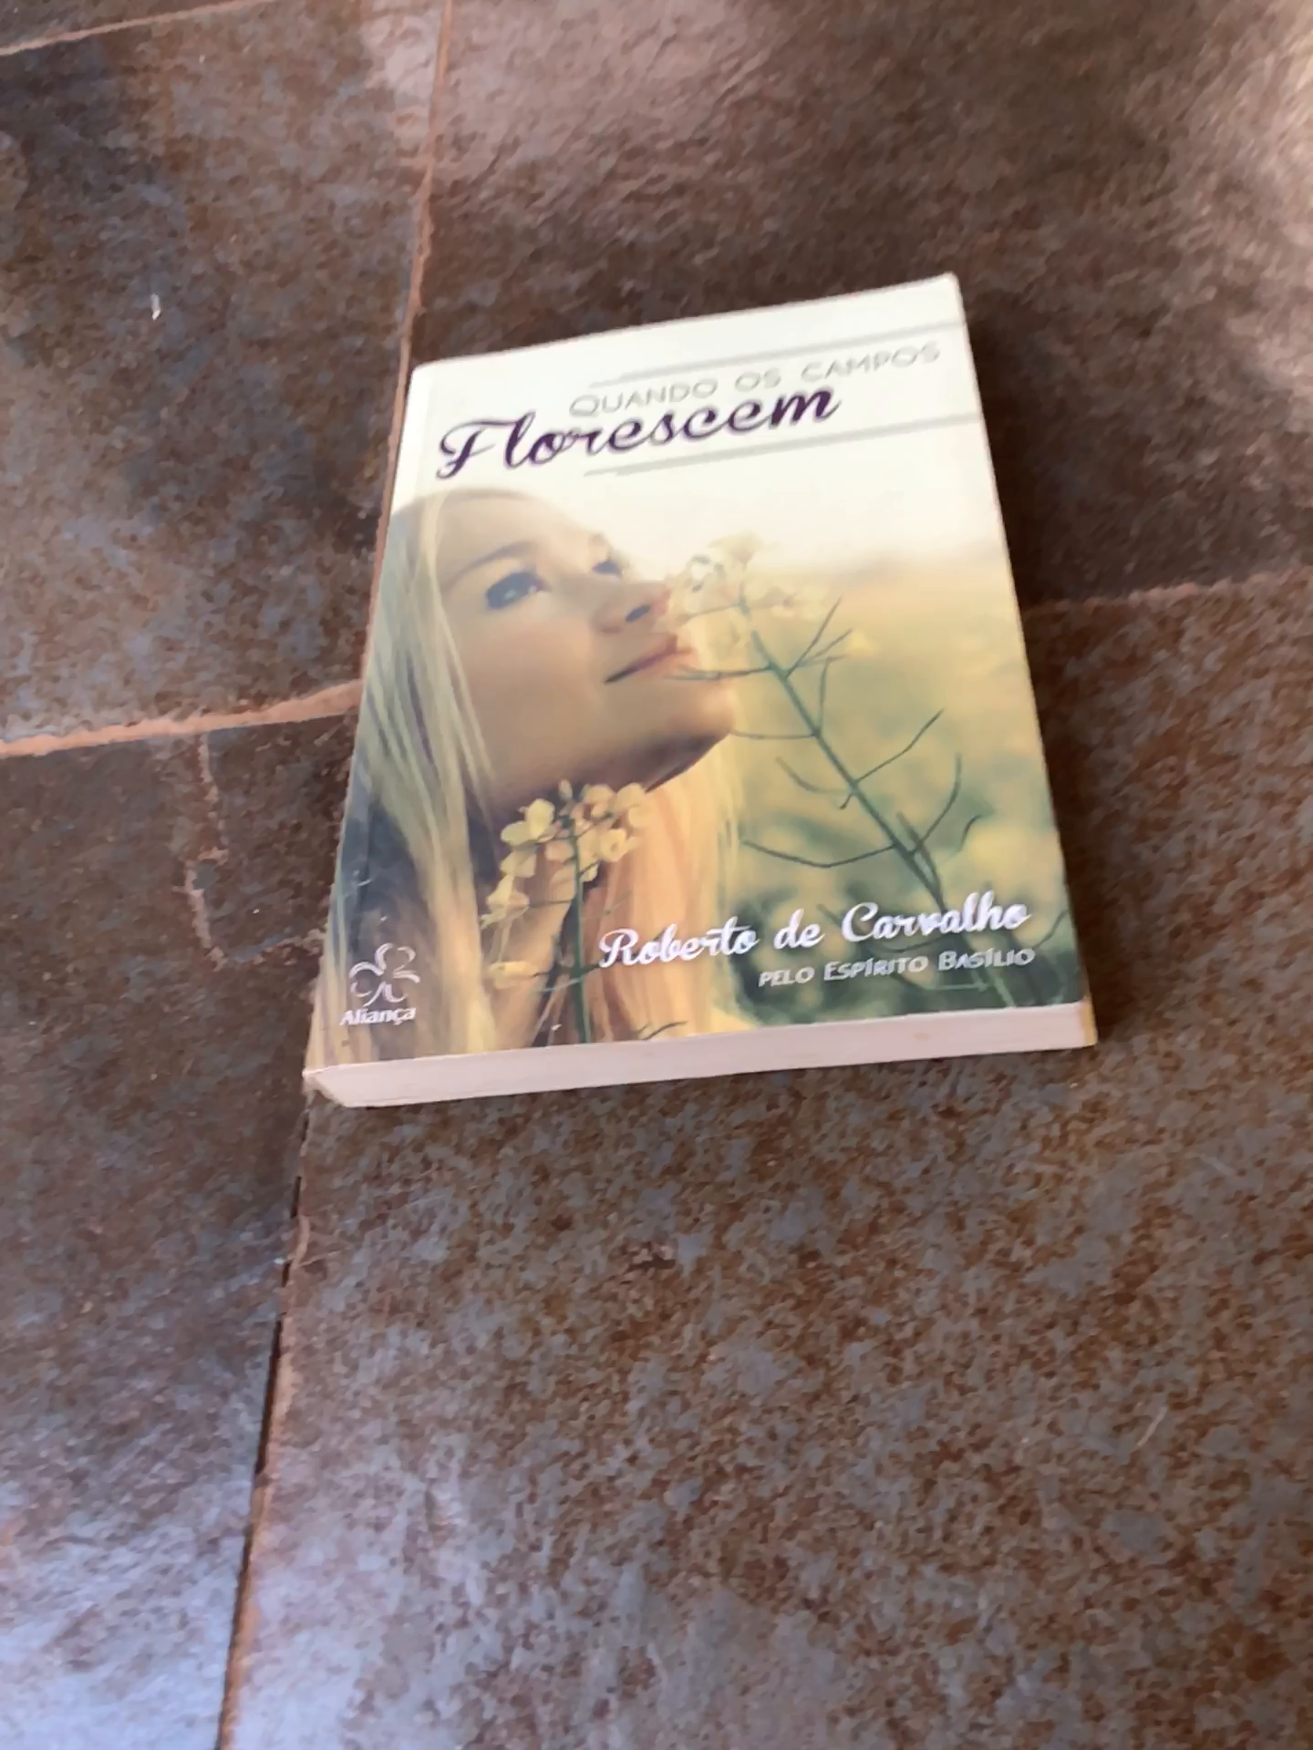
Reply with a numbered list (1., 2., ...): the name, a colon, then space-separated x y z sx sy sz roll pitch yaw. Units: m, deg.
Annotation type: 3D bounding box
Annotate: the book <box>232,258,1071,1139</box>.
1. book: -0.003 -0.054 0.345 0.161 0.022 0.226 -7 56 10
